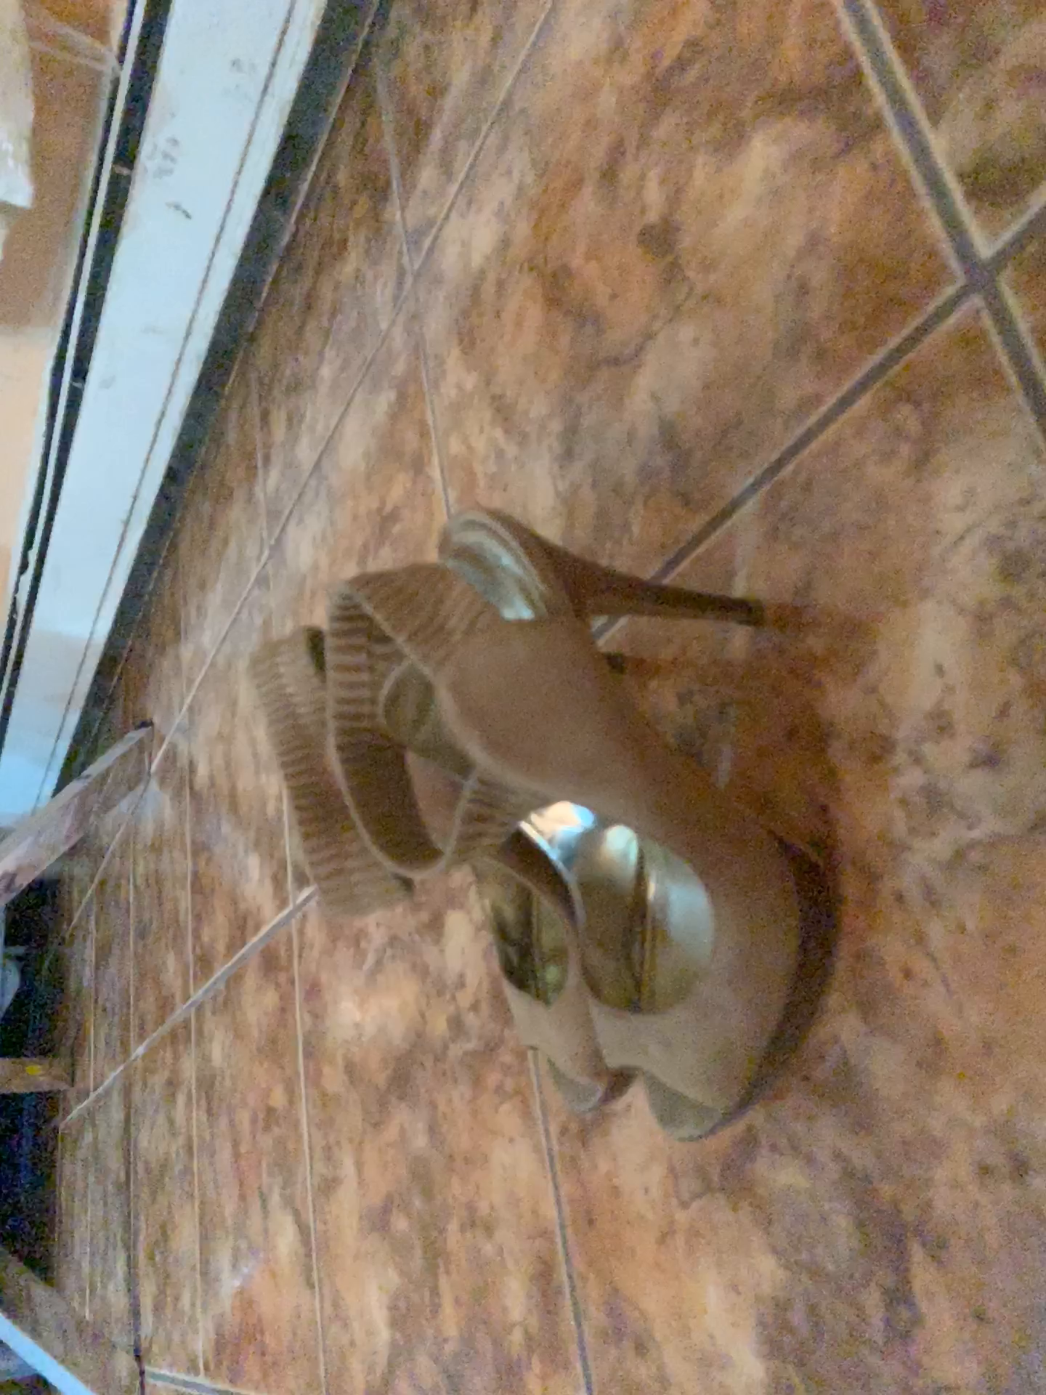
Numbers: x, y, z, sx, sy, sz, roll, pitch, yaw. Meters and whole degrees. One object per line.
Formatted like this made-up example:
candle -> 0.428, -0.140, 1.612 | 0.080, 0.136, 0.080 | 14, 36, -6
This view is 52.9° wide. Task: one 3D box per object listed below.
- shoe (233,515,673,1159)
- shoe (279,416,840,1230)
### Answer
shoe -> -0.026, 0.051, 0.412 | 0.082, 0.139, 0.209 | -8, 77, 61
shoe -> 0.014, 0.037, 0.336 | 0.082, 0.149, 0.204 | -8, 77, 61
